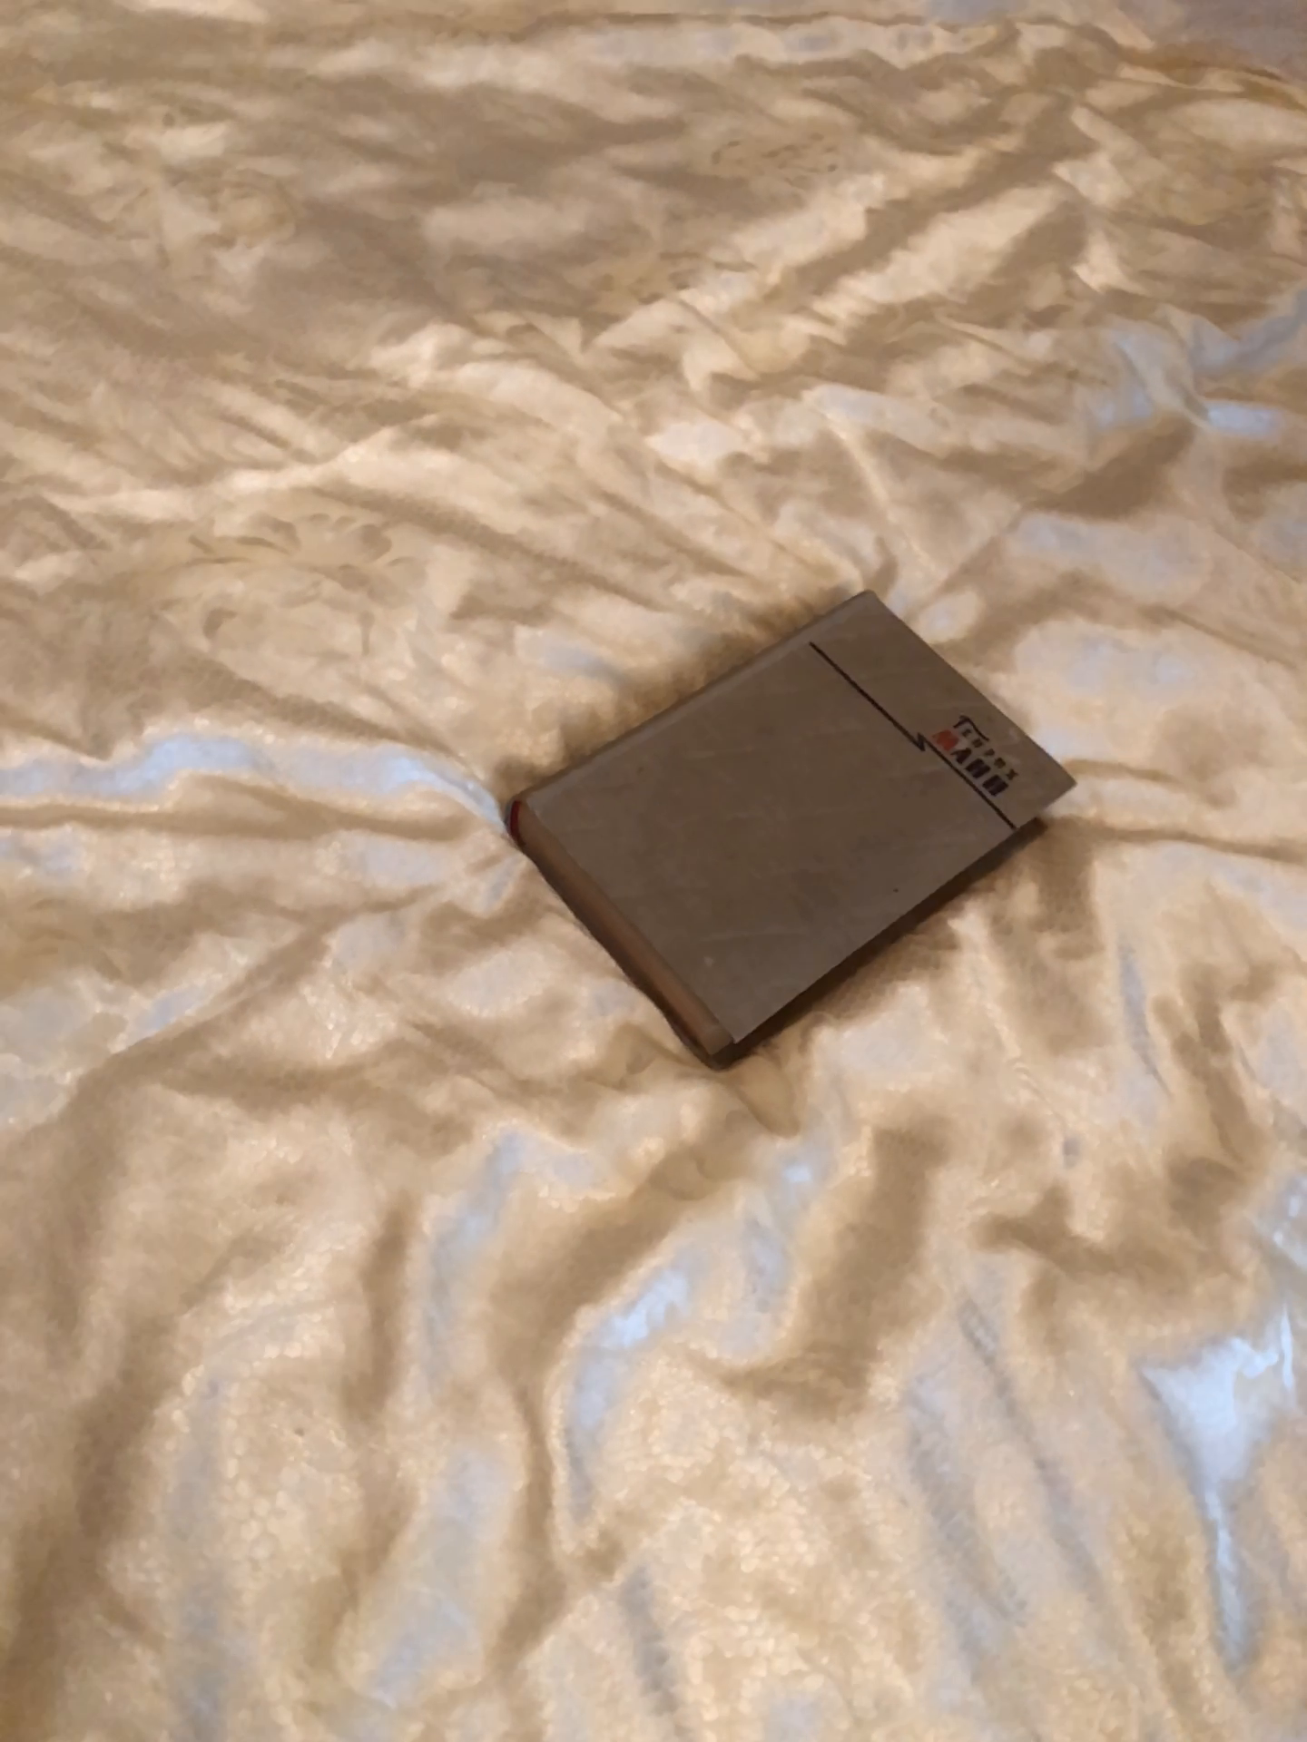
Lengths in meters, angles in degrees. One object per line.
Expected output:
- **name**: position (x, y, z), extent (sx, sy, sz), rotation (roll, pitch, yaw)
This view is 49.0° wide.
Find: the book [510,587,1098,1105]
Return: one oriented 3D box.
- **book**: position (0.065, -0.019, 0.623), extent (0.208, 0.051, 0.142), rotation (-32, 68, -26)
